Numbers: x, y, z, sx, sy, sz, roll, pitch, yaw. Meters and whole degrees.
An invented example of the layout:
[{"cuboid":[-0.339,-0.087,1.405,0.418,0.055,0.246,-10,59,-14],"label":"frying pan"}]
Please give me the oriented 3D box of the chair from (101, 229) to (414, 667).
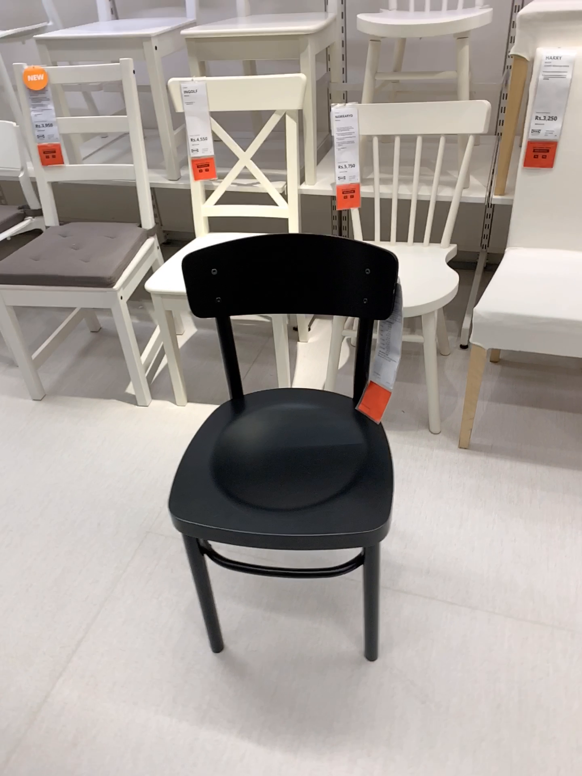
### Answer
[{"cuboid":[-0.001,0.140,1.223,0.430,0.767,0.472,0,39,7],"label":"chair"}]
